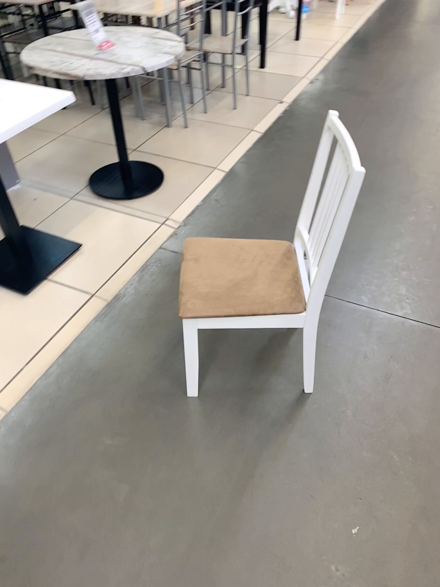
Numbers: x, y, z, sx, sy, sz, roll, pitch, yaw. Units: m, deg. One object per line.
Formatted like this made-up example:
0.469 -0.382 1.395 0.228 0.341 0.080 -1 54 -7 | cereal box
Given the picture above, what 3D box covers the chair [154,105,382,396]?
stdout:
0.110 -0.093 1.401 0.500 0.816 0.402 -2 42 0 | chair
